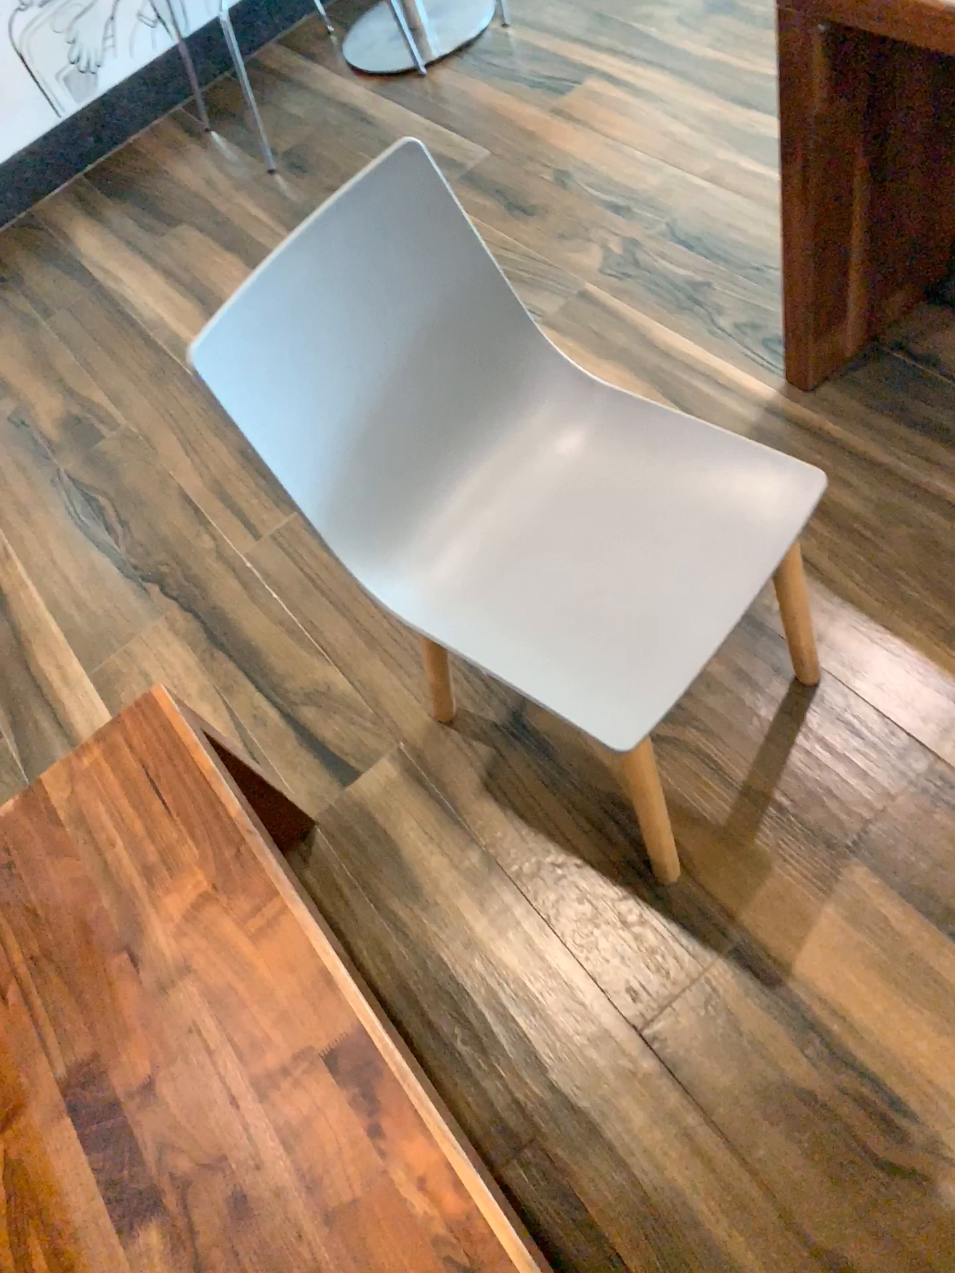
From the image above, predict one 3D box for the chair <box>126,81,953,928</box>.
[{"bbox_3d":[0.113,-0.124,1.145,0.563,0.696,0.501,33,74,32],"label":"chair"}]
